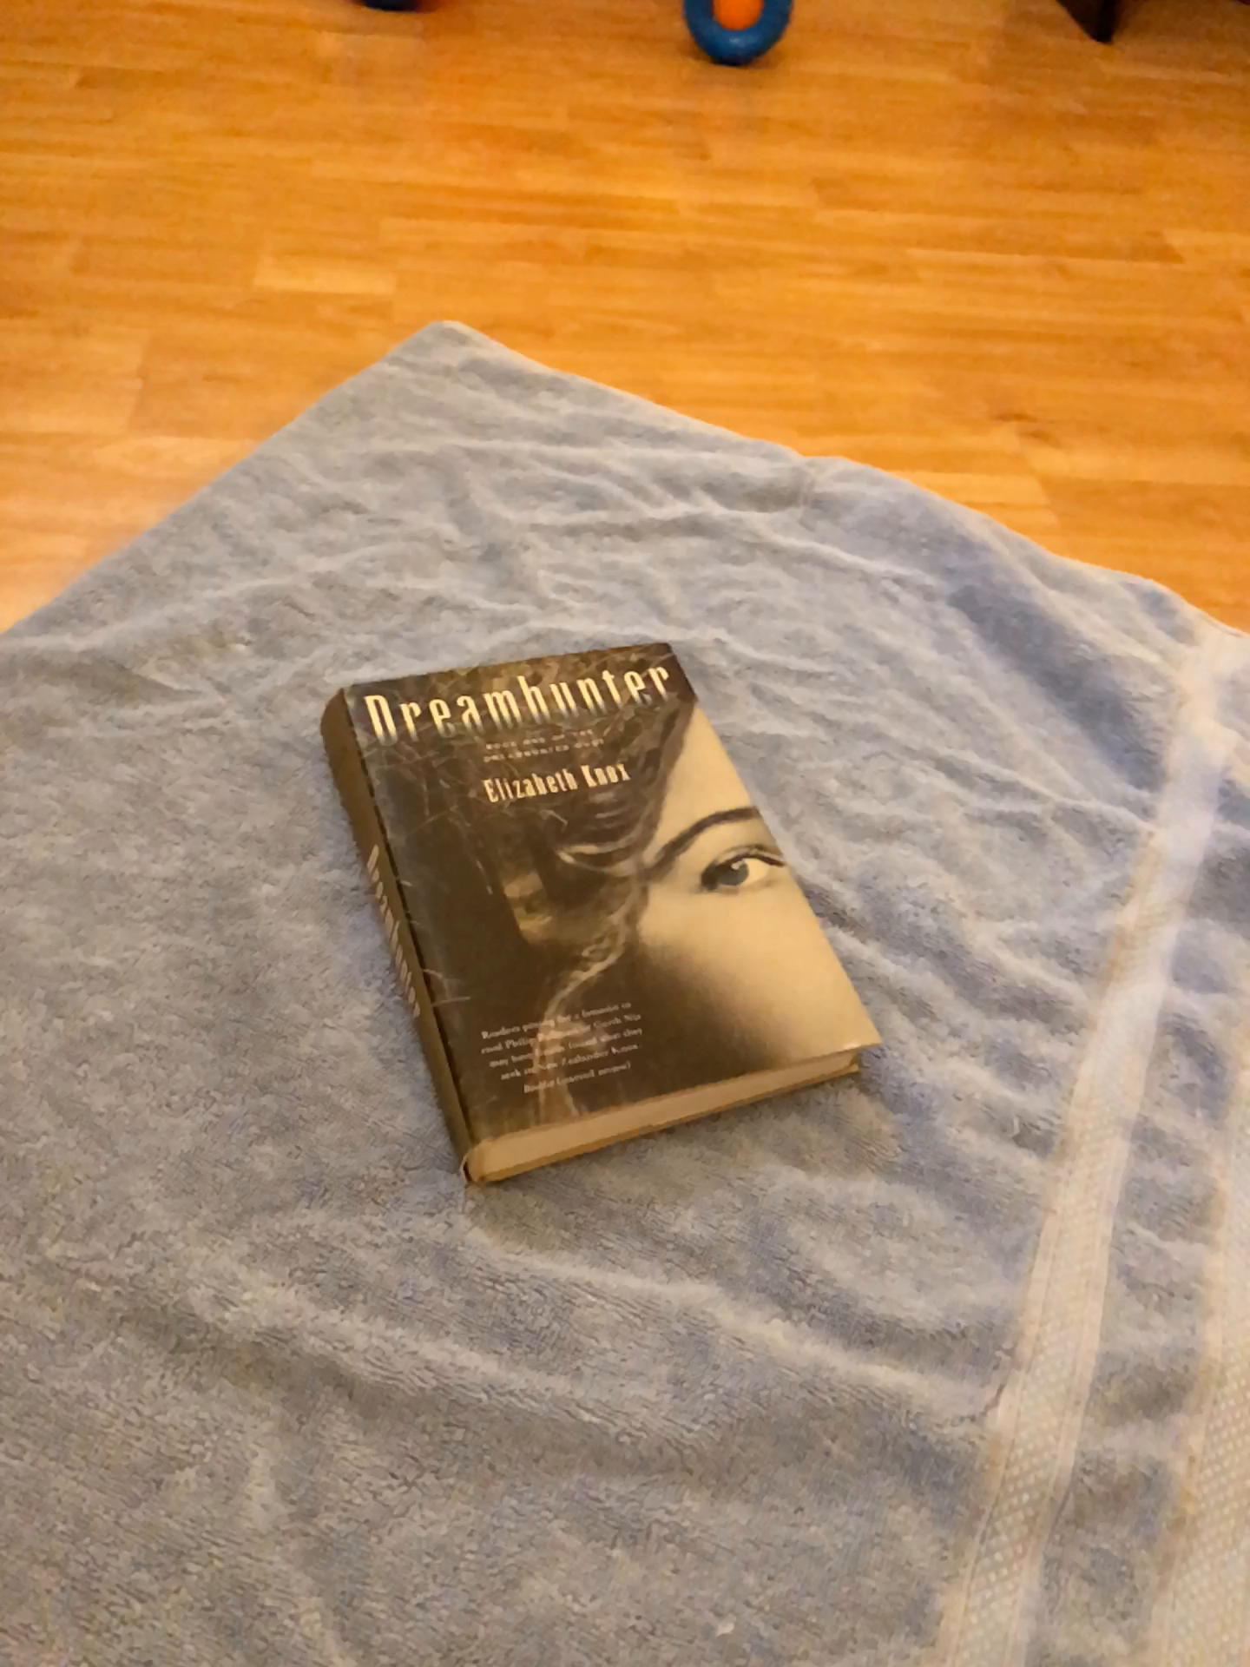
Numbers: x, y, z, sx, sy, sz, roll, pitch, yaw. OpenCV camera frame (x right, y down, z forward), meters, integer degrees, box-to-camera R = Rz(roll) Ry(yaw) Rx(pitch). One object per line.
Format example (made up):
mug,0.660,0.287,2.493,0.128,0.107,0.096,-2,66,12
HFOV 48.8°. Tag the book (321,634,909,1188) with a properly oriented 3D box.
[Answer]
book,-0.015,0.013,0.542,0.164,0.030,0.226,-10,49,-18
